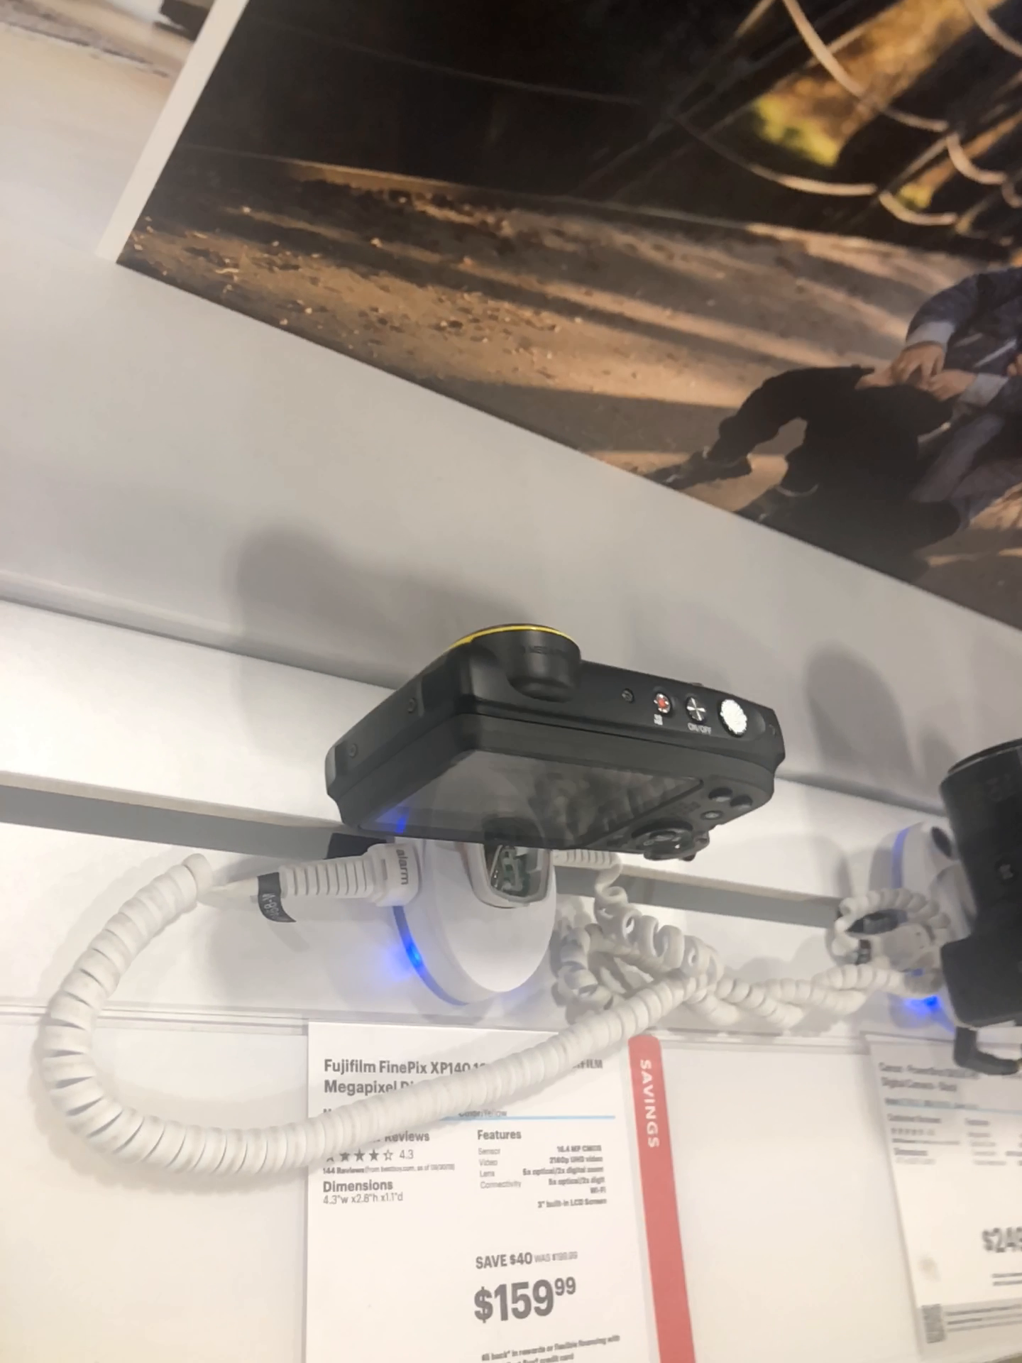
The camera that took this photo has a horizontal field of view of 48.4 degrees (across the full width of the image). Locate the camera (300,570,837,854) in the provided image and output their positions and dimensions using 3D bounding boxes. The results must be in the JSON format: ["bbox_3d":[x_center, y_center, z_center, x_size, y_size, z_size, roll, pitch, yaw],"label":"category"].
[{"bbox_3d":[0.014,0.014,0.281,0.111,0.070,0.030,11,60,-34],"label":"camera"}]
